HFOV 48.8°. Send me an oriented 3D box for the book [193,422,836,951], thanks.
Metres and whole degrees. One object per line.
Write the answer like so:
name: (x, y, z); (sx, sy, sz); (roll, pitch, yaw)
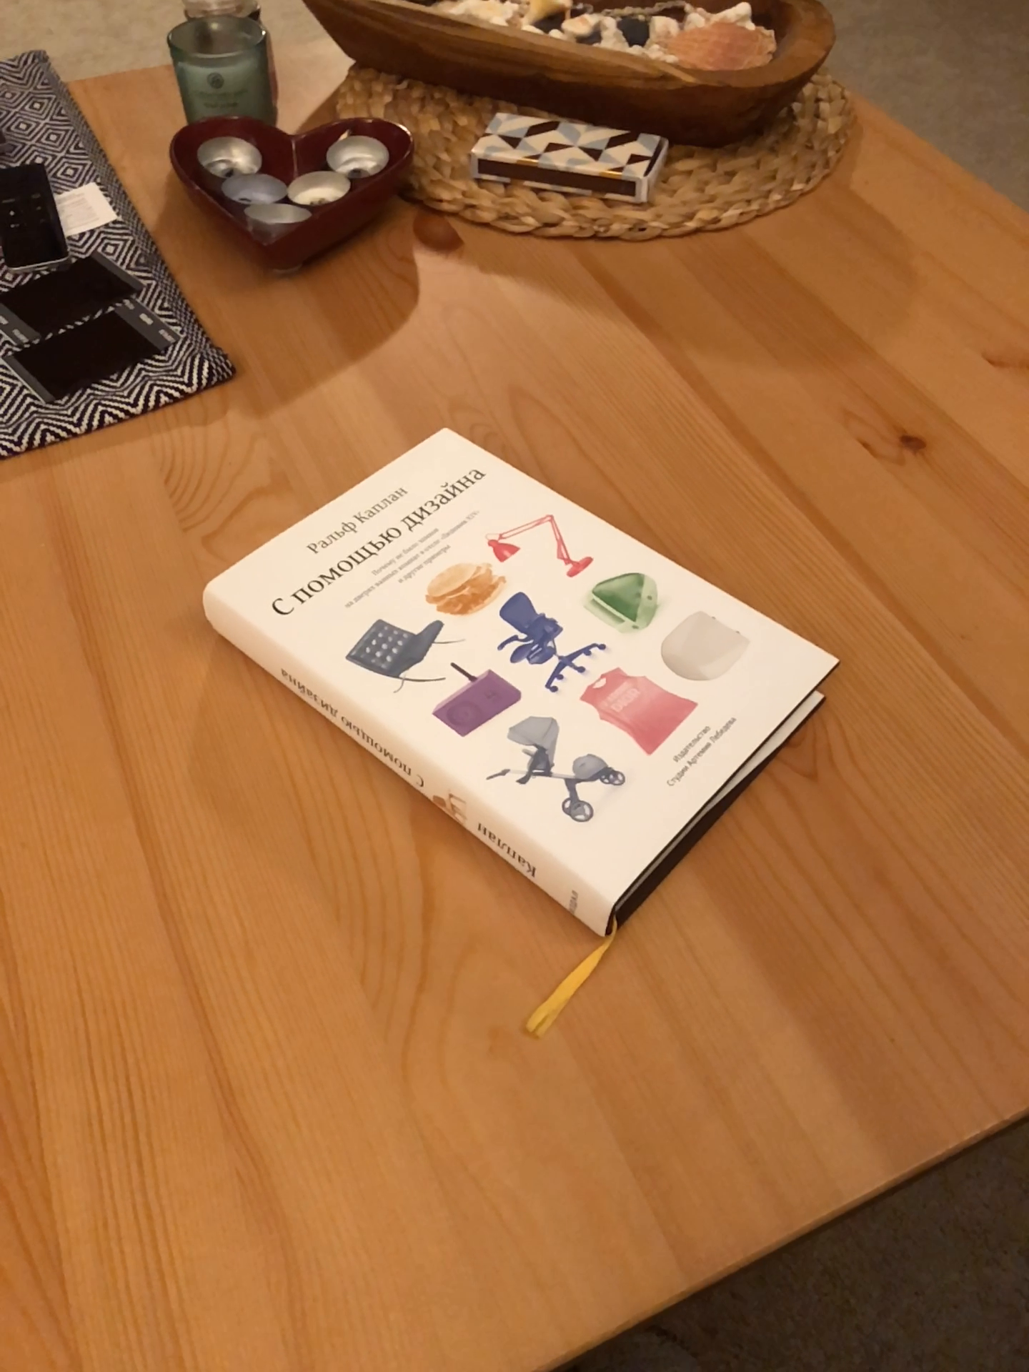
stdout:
book: (-0.003, -0.016, 0.489); (0.226, 0.034, 0.152); (35, 58, 24)
